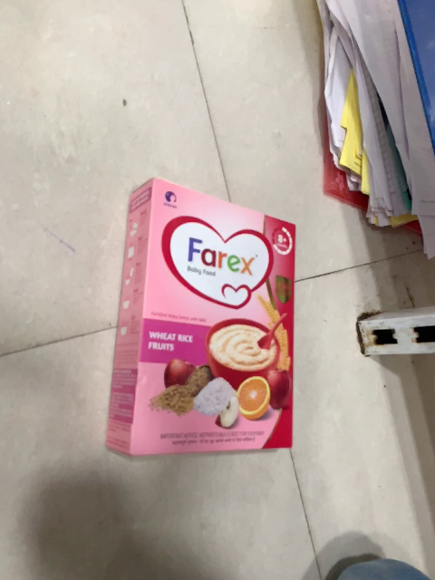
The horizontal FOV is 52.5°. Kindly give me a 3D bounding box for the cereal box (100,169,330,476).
[{"bbox_3d":[0.010,0.030,0.339,0.171,0.050,0.190,11,76,-34],"label":"cereal box"}]
